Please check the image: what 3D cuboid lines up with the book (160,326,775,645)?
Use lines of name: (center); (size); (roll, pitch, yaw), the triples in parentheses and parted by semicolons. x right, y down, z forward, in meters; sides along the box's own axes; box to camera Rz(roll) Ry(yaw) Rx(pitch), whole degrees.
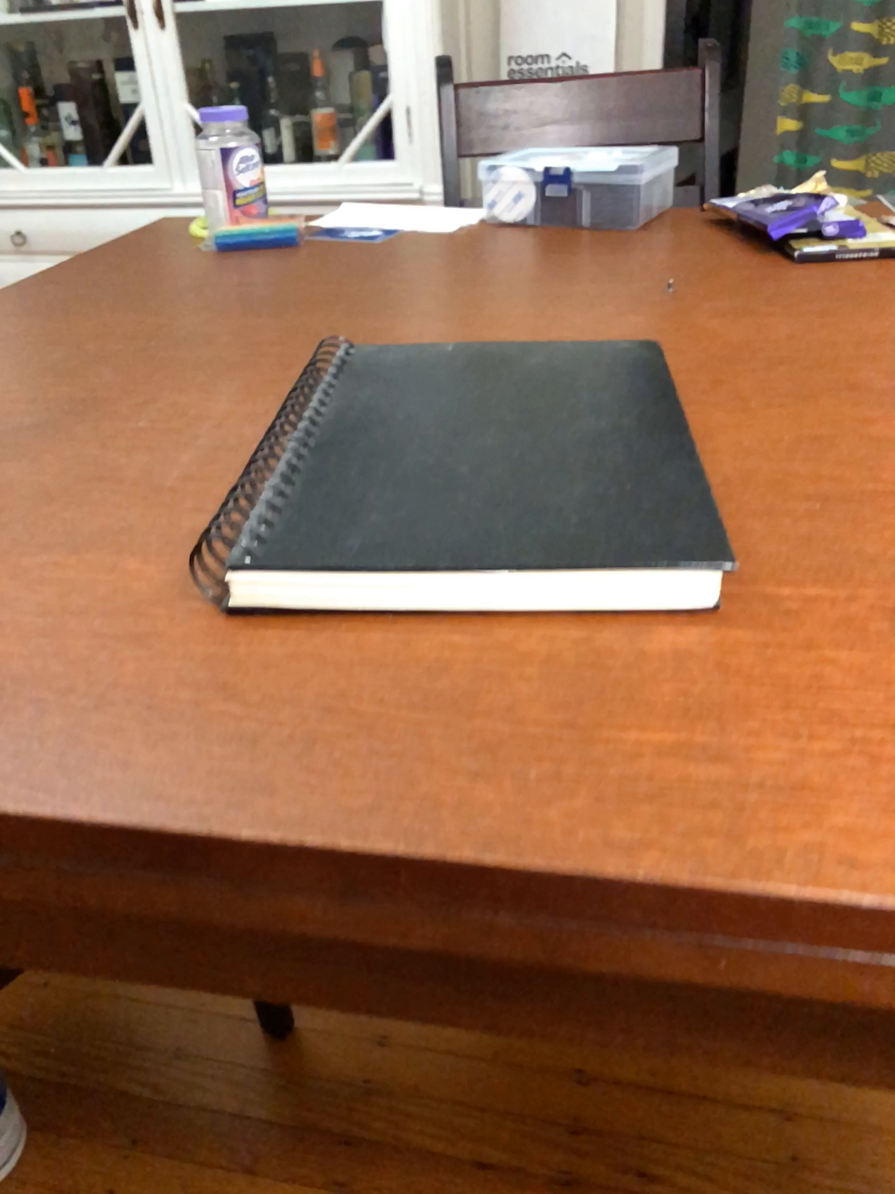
book: (0.013, -0.065, 0.441); (0.200, 0.030, 0.262); (-1, 31, 5)
